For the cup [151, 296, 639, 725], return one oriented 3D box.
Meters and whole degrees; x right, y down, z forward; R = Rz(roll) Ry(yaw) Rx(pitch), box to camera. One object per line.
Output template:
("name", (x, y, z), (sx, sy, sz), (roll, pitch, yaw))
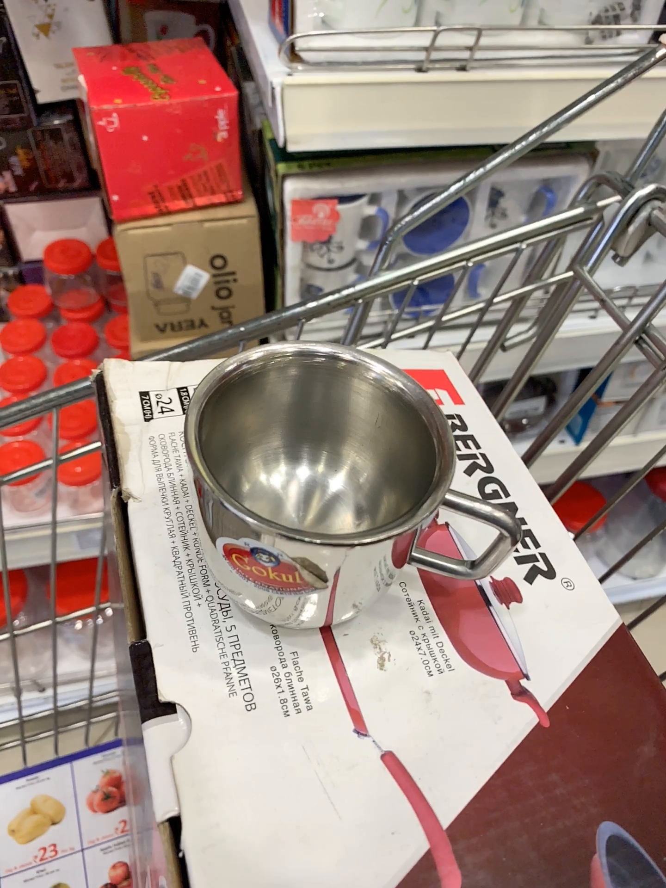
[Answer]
("cup", (0.016, 0.013, 0.165), (0.090, 0.050, 0.060), (17, 51, 10))
